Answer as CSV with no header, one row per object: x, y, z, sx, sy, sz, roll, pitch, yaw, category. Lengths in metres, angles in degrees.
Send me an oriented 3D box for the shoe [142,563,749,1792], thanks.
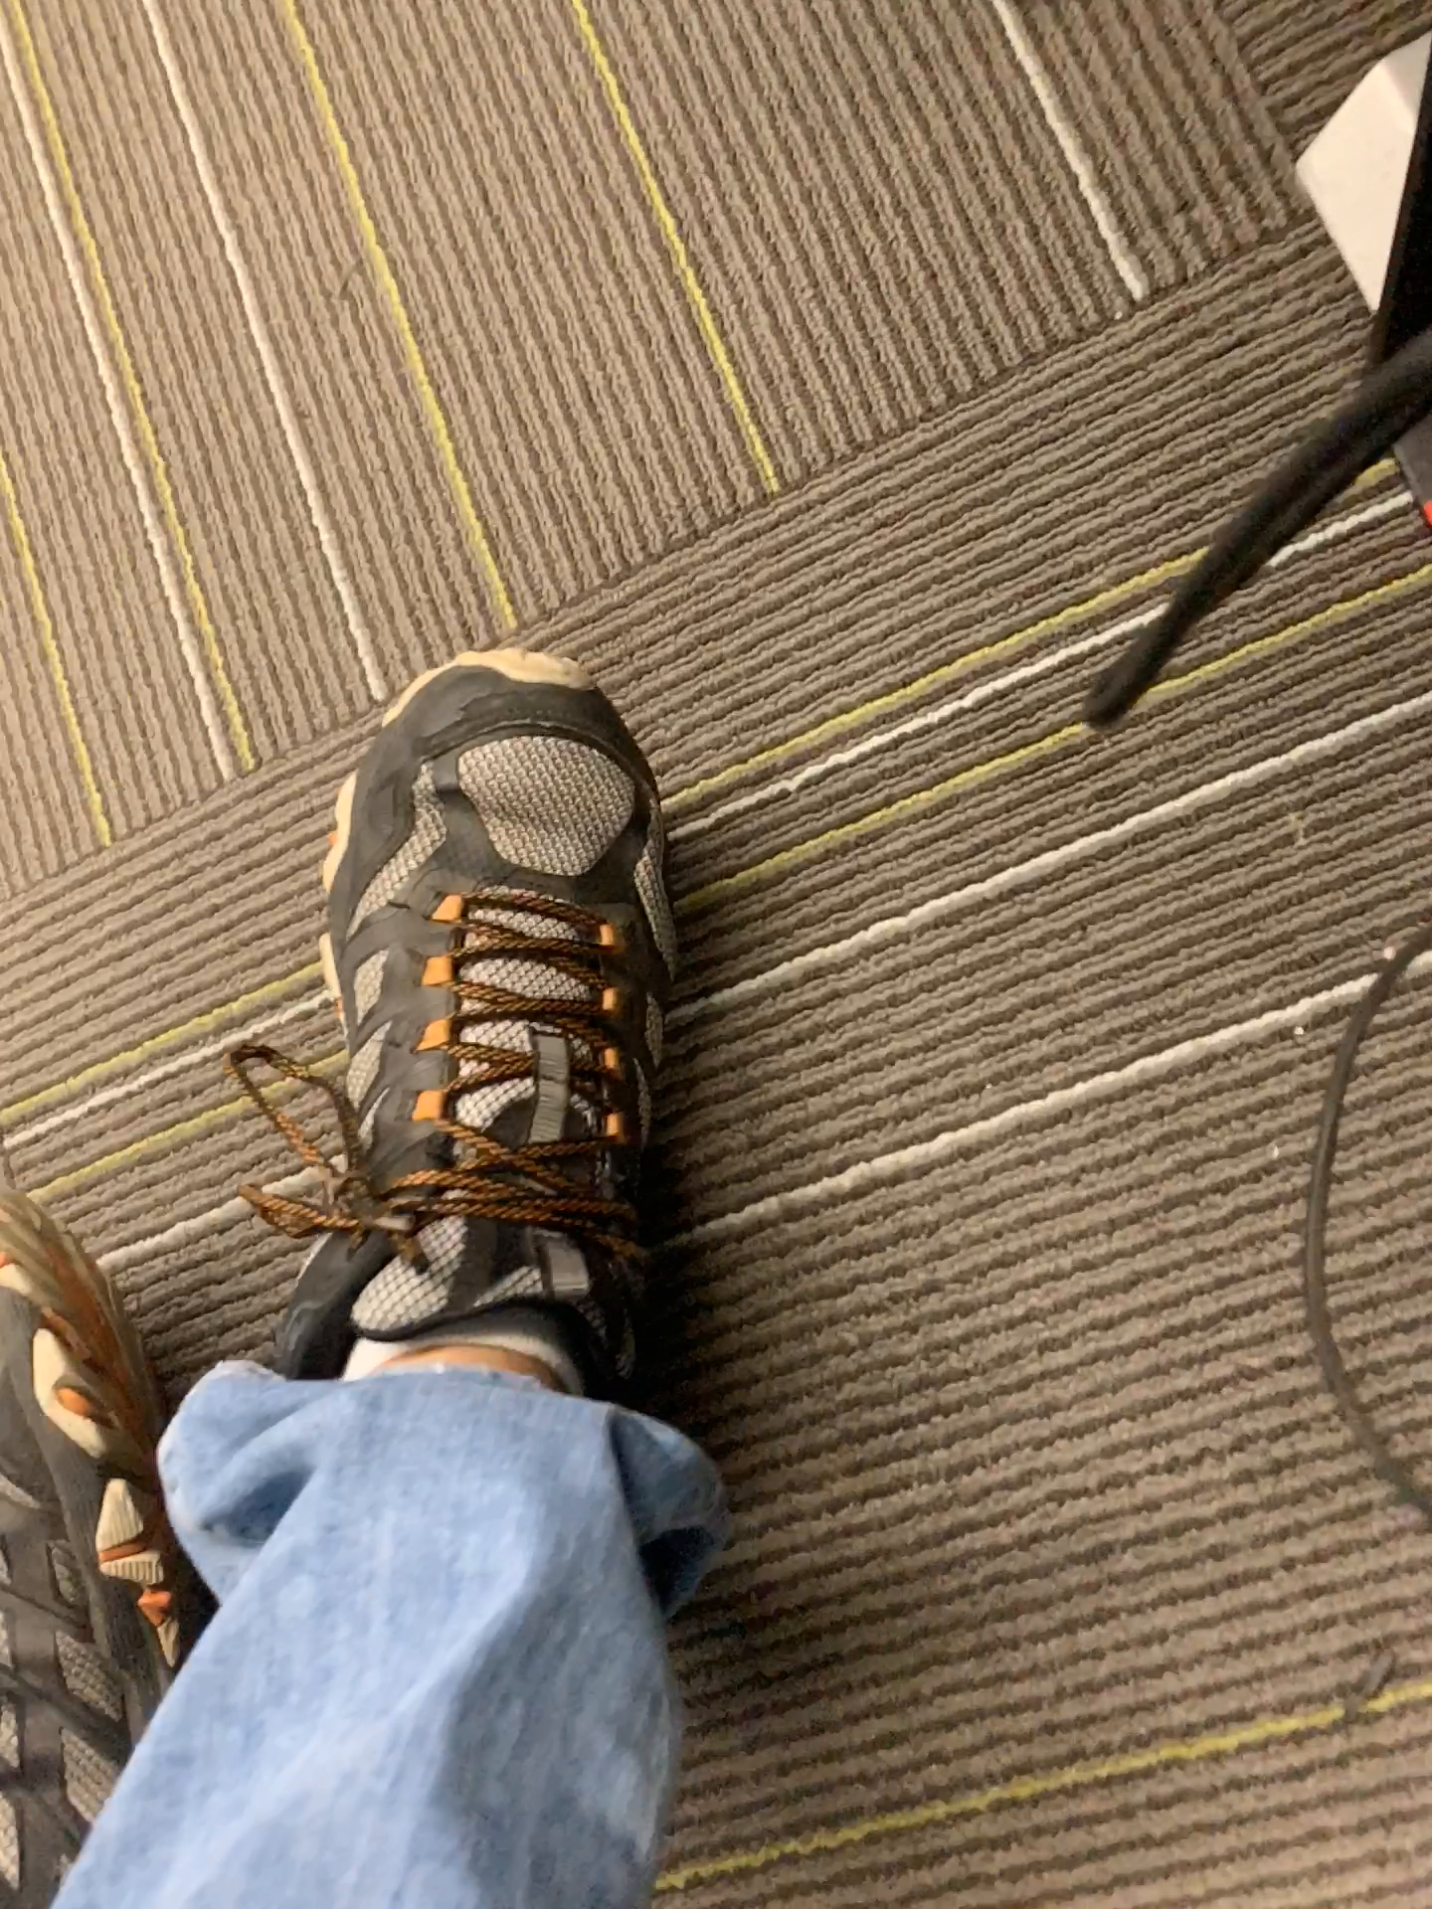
-0.090,0.059,0.463,0.119,0.119,0.325,11,96,54,shoe

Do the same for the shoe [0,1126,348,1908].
-0.243,0.238,0.499,0.127,0.119,0.325,-17,85,-23,shoe
